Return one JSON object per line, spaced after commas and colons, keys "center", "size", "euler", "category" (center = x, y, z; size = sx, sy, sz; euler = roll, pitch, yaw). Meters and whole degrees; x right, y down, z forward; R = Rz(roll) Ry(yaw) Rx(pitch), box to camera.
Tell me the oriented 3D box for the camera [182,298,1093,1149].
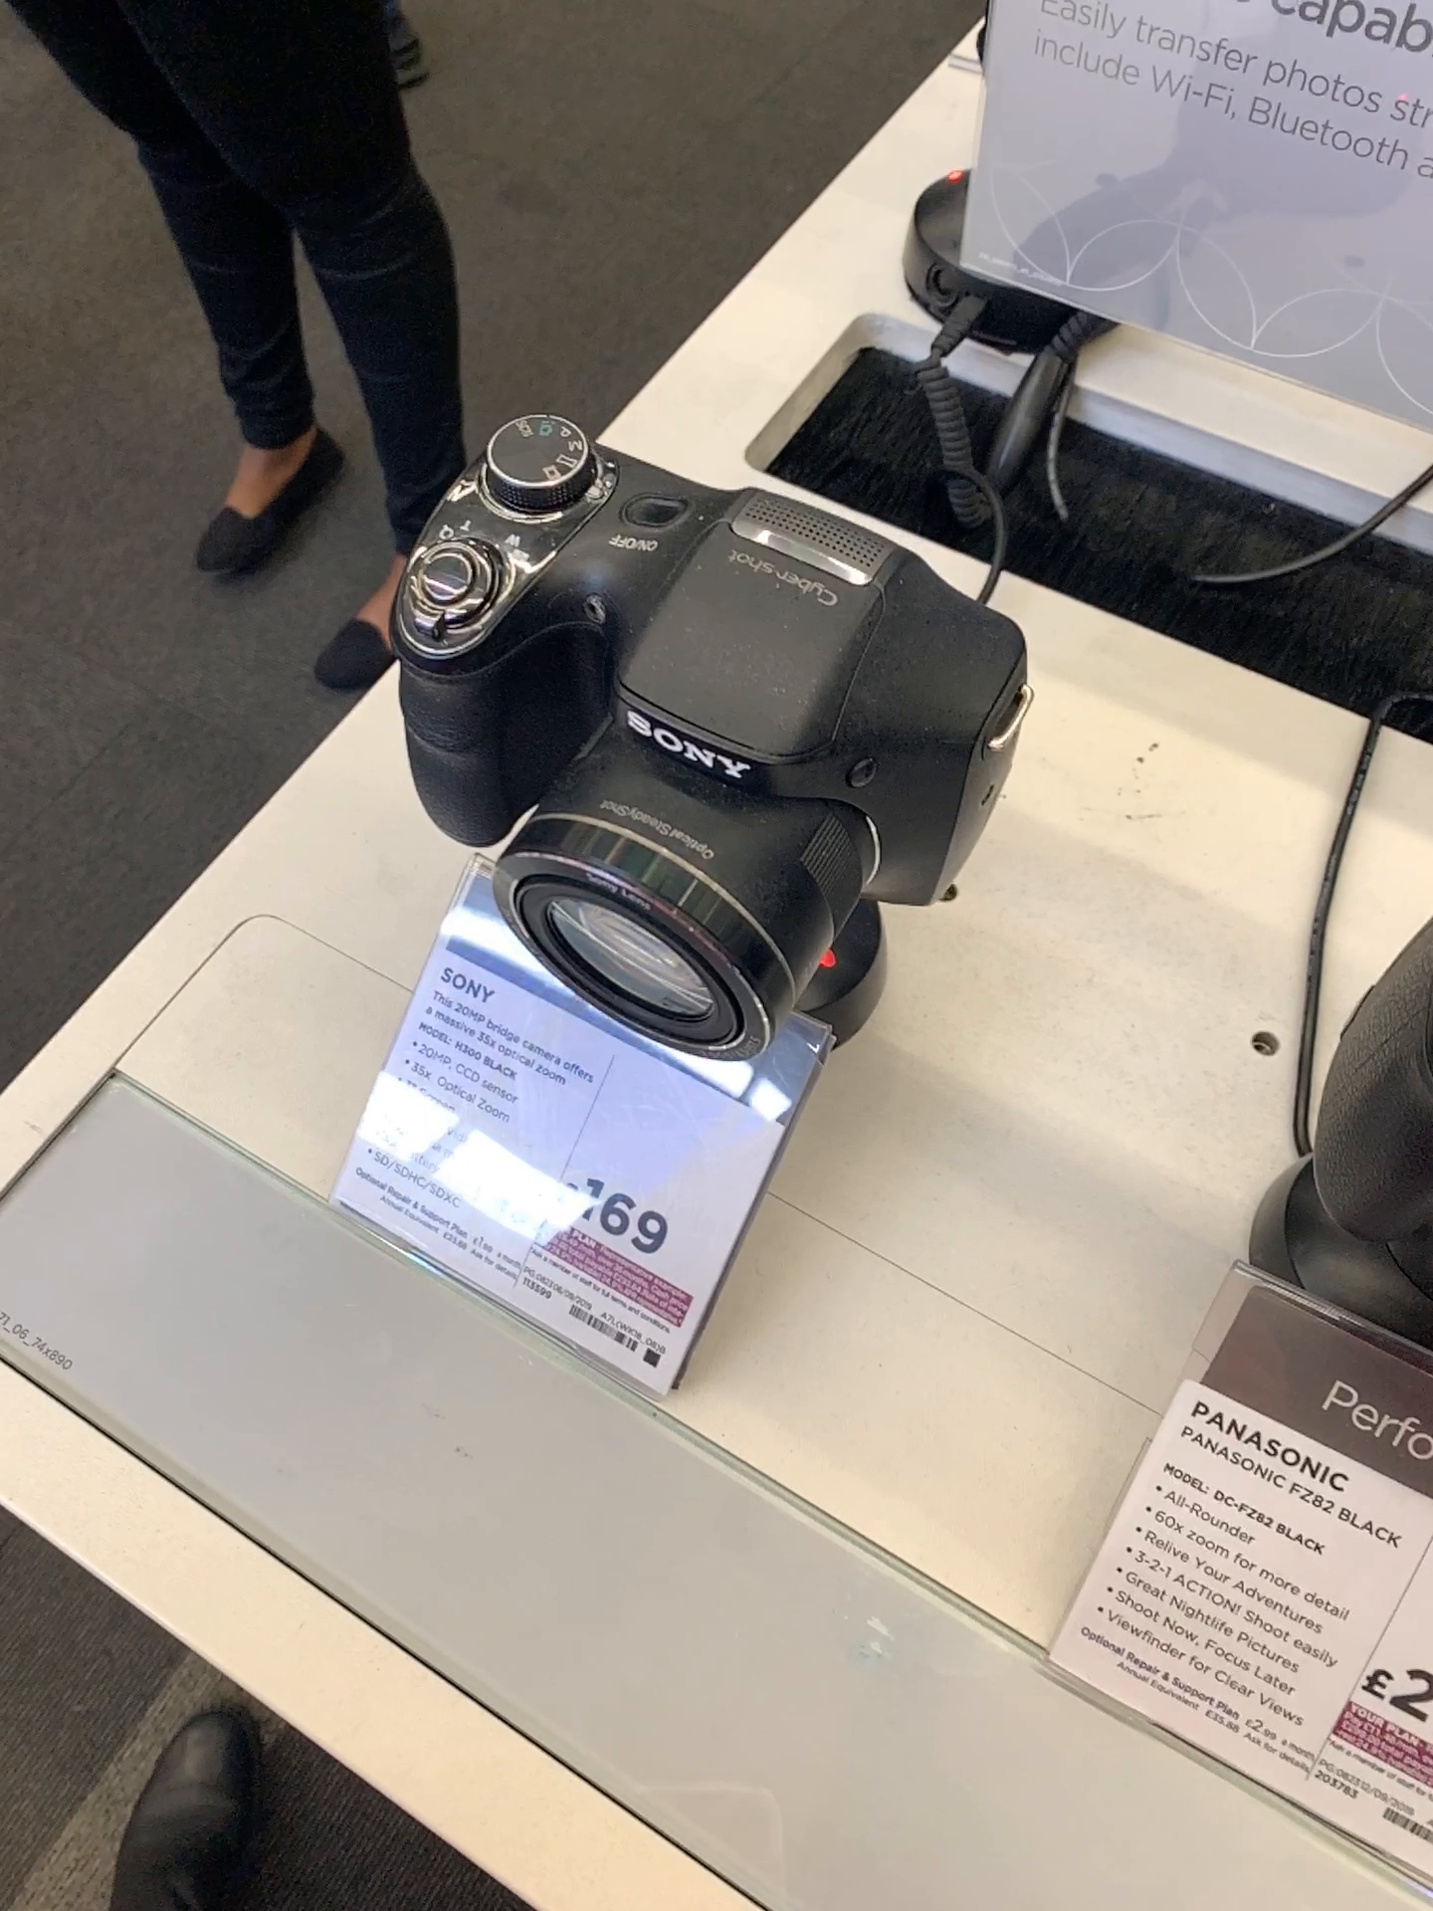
{"center": [-0.012, -0.046, 0.294], "size": [0.130, 0.089, 0.090], "euler": [27, 64, 16], "category": "camera"}
